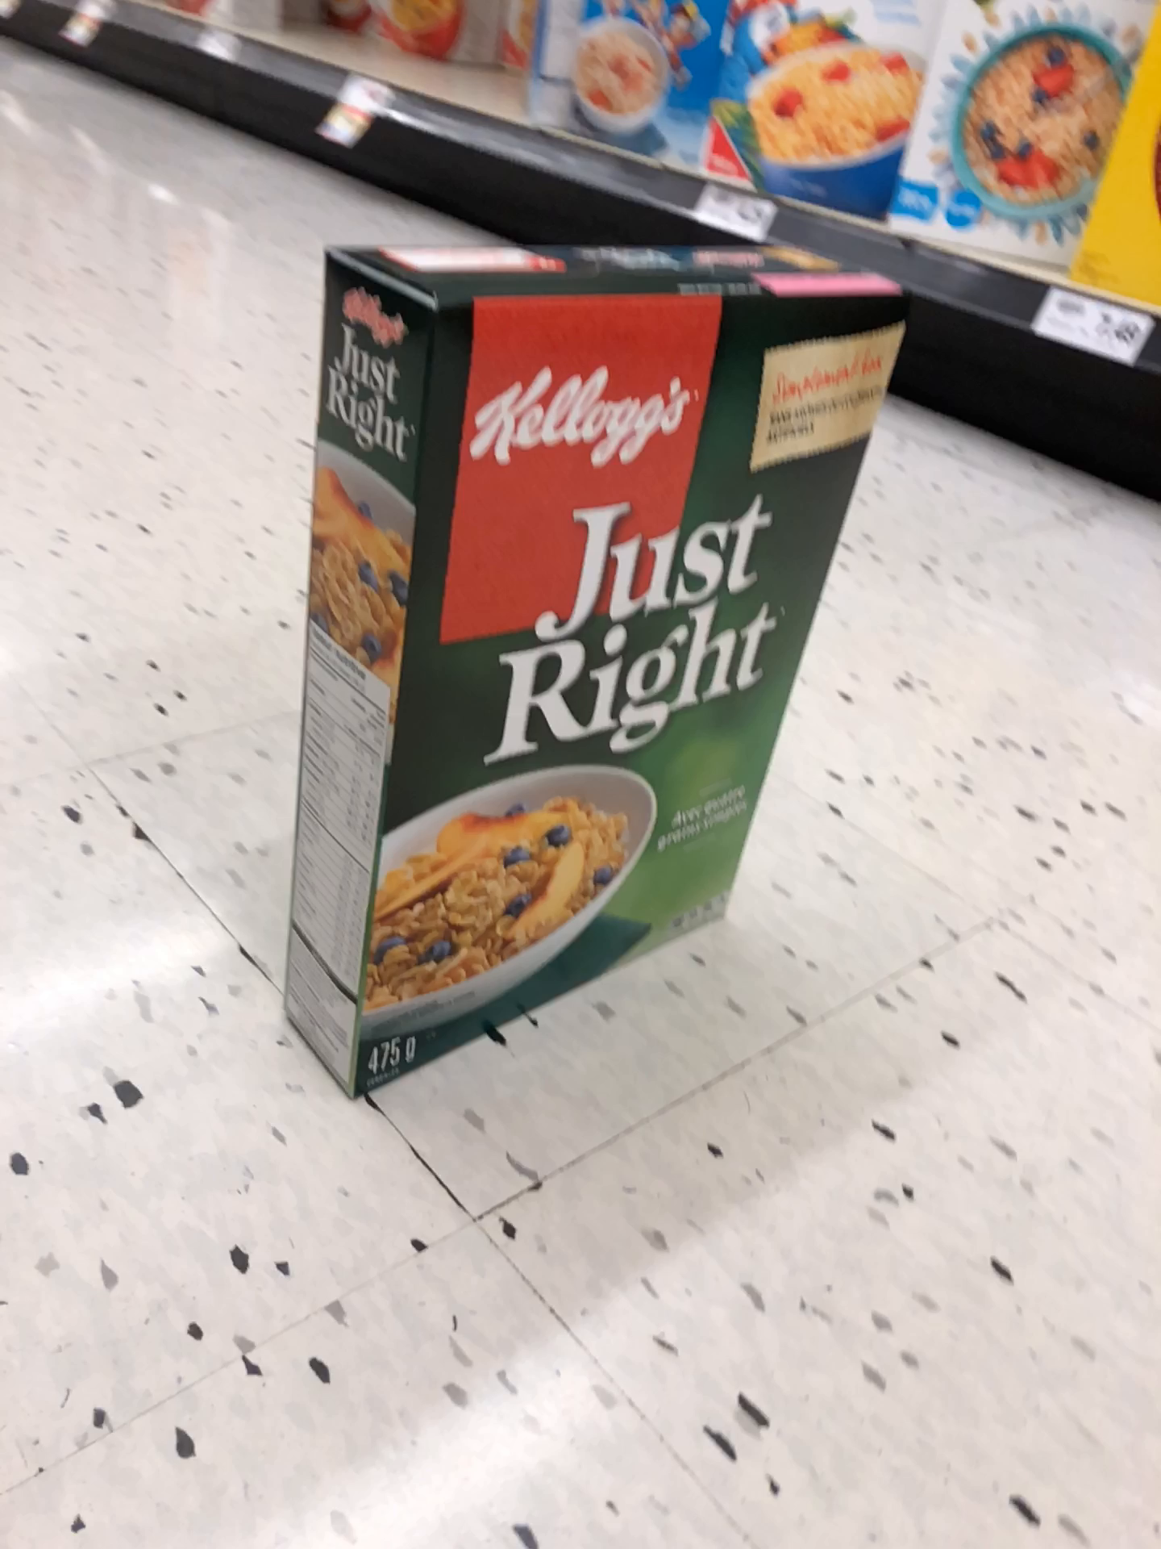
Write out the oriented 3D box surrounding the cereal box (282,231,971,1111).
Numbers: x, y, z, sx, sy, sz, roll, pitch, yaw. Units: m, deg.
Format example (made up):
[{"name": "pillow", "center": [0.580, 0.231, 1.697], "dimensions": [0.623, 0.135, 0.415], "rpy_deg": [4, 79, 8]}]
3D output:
[{"name": "cereal box", "center": [0.010, -0.037, 0.438], "dimensions": [0.211, 0.268, 0.050], "rpy_deg": [-18, 42, -38]}]
